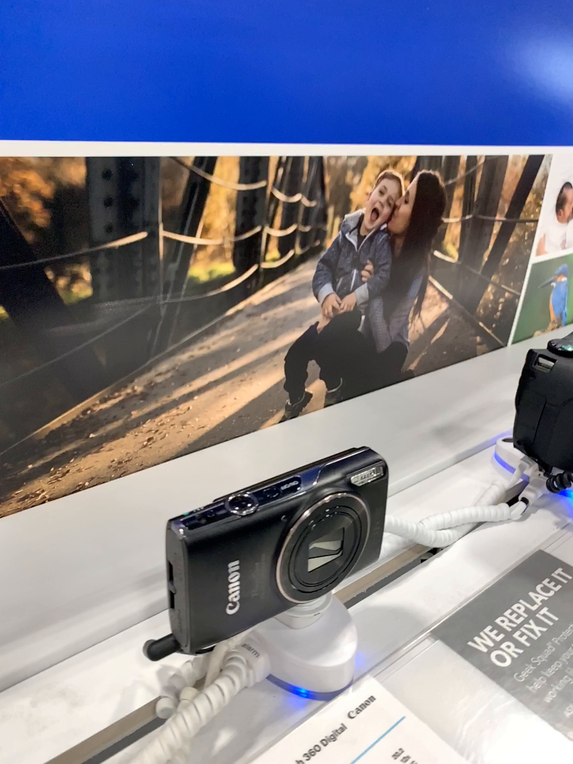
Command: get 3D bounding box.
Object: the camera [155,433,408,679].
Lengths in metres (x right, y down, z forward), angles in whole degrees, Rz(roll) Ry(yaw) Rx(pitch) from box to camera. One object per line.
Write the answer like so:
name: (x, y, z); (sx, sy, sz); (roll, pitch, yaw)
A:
camera: (0.002, 0.065, 0.243); (0.106, 0.055, 0.027); (-15, 26, -37)
